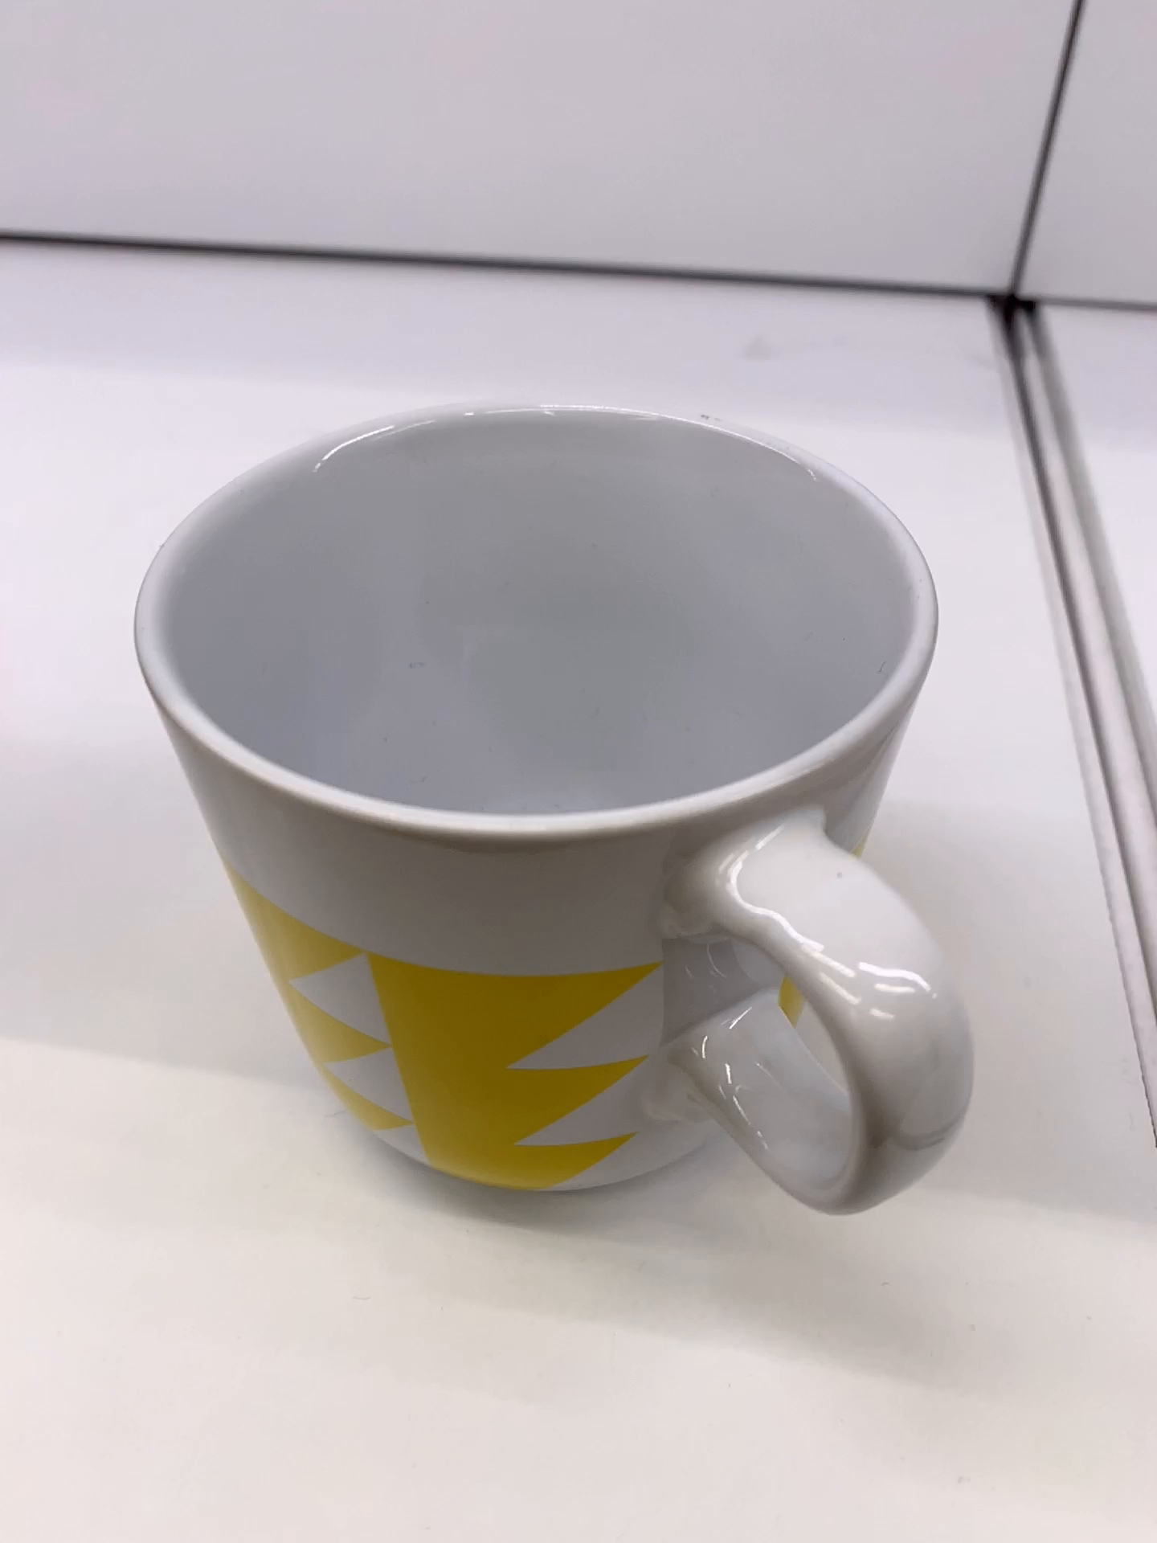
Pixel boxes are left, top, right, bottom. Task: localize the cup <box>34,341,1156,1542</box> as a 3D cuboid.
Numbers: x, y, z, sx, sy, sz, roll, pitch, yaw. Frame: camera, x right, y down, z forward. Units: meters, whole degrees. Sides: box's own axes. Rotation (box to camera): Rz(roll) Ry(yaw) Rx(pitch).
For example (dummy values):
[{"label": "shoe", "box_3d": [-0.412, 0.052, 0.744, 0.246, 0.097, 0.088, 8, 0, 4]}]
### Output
[{"label": "cup", "box_3d": [0.002, 0.008, 0.140, 0.084, 0.065, 0.107, -21, 44, -23]}]
